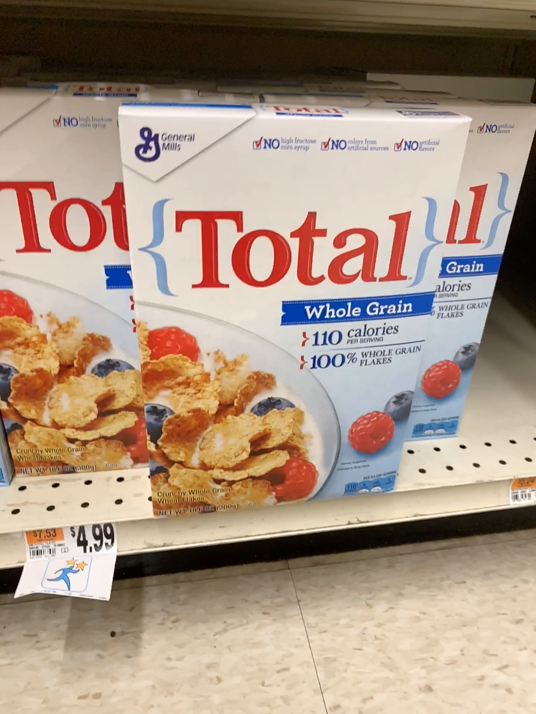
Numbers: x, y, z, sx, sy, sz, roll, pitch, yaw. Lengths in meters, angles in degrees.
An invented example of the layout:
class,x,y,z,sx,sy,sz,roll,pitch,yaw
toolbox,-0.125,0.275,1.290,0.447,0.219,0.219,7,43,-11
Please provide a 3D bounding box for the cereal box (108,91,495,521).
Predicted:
class,x,y,z,sx,sy,sz,roll,pitch,yaw
cereal box,0.013,-0.019,0.369,0.200,0.278,0.050,-3,31,-9
